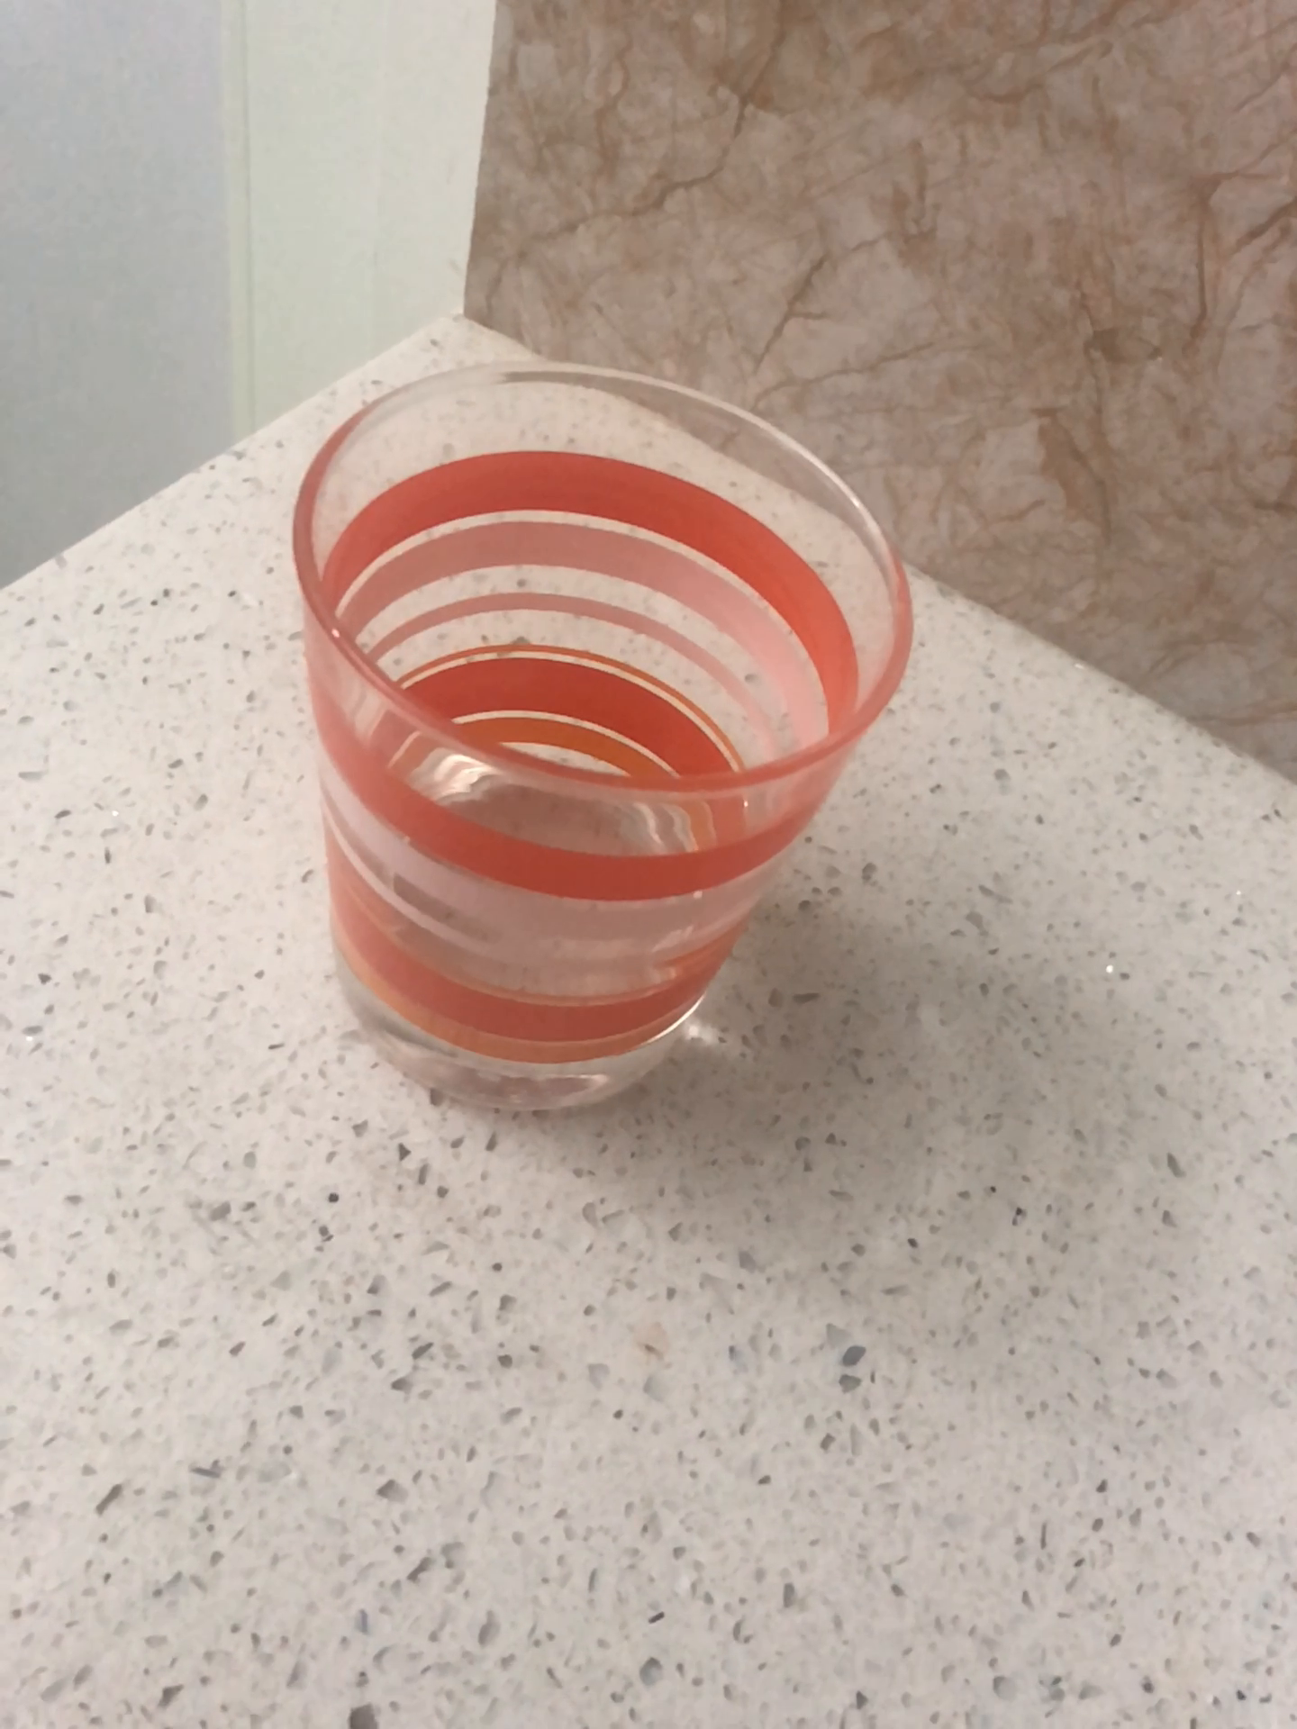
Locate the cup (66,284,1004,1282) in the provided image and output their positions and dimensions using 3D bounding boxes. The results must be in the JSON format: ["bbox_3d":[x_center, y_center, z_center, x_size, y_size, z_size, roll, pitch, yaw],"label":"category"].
[{"bbox_3d":[-0.016,-0.011,0.214,0.090,0.090,0.080,26,51,7],"label":"cup"}]
